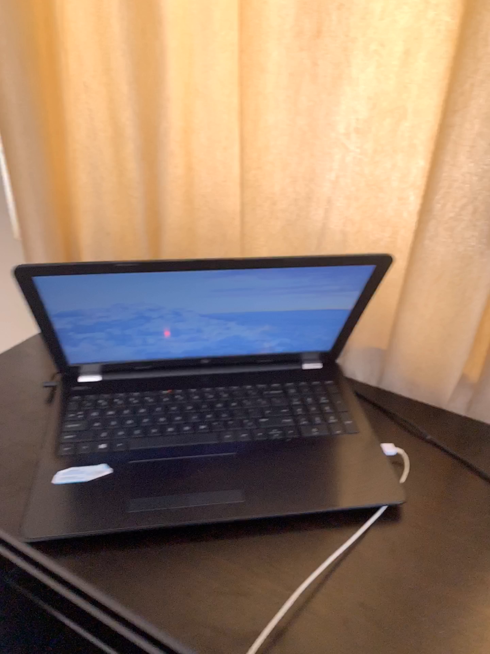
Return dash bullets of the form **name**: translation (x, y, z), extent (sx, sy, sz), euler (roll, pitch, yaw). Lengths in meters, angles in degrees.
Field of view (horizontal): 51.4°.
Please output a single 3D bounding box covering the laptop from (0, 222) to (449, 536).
- **laptop**: translation (-0.035, 0.033, 0.543), extent (0.362, 0.201, 0.239), euler (-3, 31, -7)
